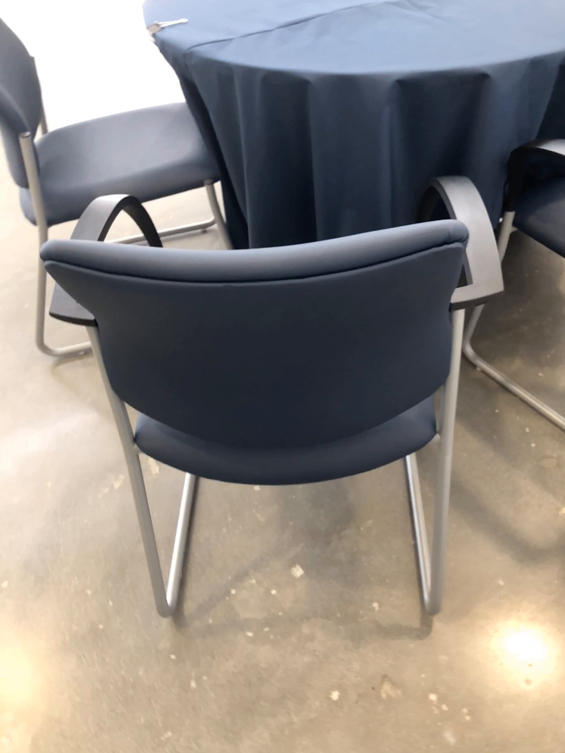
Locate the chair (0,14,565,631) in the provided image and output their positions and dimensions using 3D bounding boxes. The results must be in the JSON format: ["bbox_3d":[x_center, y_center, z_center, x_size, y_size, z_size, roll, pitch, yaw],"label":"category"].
[{"bbox_3d":[-0.023,-0.061,1.059,0.640,0.765,0.674,-3,46,4],"label":"chair"}]
